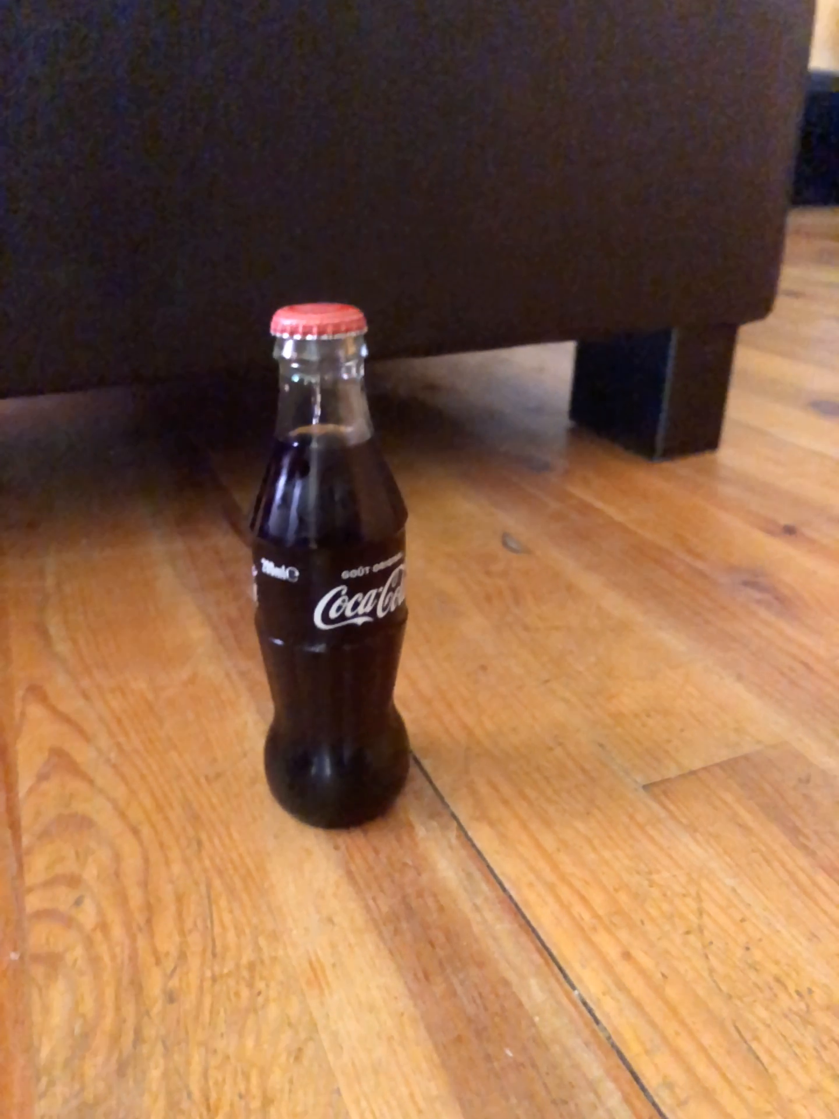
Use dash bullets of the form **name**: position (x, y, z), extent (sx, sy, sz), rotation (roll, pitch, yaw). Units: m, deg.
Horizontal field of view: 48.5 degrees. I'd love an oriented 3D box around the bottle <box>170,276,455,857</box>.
- **bottle**: position (-0.032, 0.001, 0.304), extent (0.060, 0.169, 0.060), rotation (0, 24, 0)
